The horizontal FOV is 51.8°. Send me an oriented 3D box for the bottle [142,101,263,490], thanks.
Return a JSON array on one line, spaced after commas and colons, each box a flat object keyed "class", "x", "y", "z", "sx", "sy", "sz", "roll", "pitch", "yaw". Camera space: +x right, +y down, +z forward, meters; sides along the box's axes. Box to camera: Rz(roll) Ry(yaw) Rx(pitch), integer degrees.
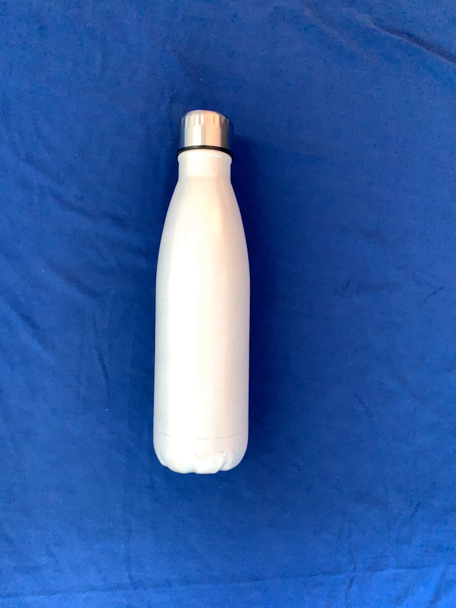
[{"class": "bottle", "x": -0.019, "y": -0.005, "z": 0.342, "sx": 0.080, "sy": 0.050, "sz": 0.260, "roll": 0, "pitch": 90, "yaw": -5}]
